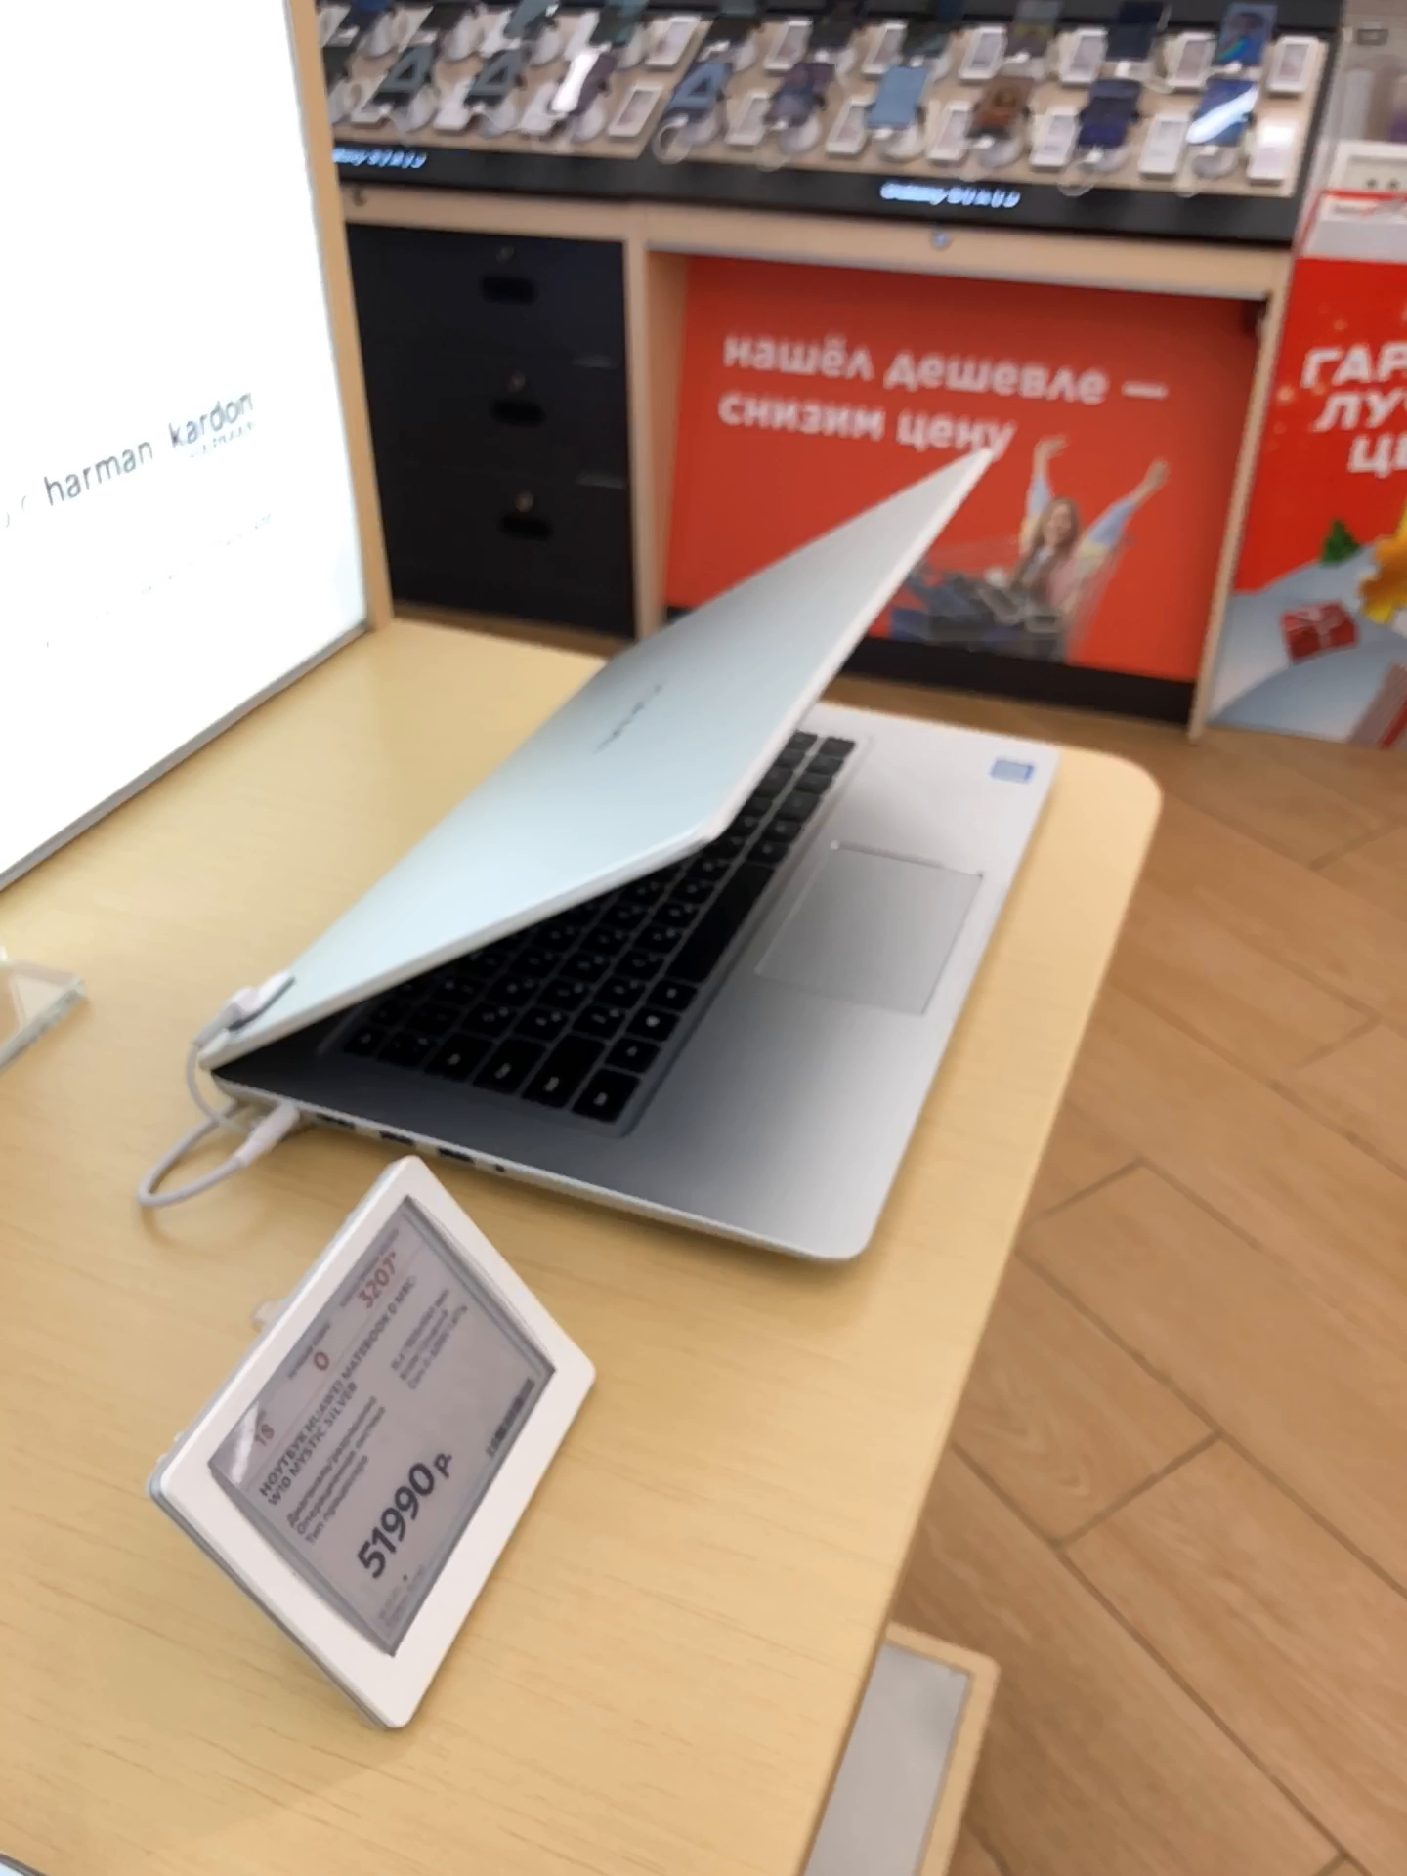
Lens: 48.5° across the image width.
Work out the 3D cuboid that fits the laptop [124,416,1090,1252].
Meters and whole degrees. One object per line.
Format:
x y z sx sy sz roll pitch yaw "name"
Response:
-0.003 -0.074 0.606 0.230 0.135 0.344 12 37 16 "laptop"
